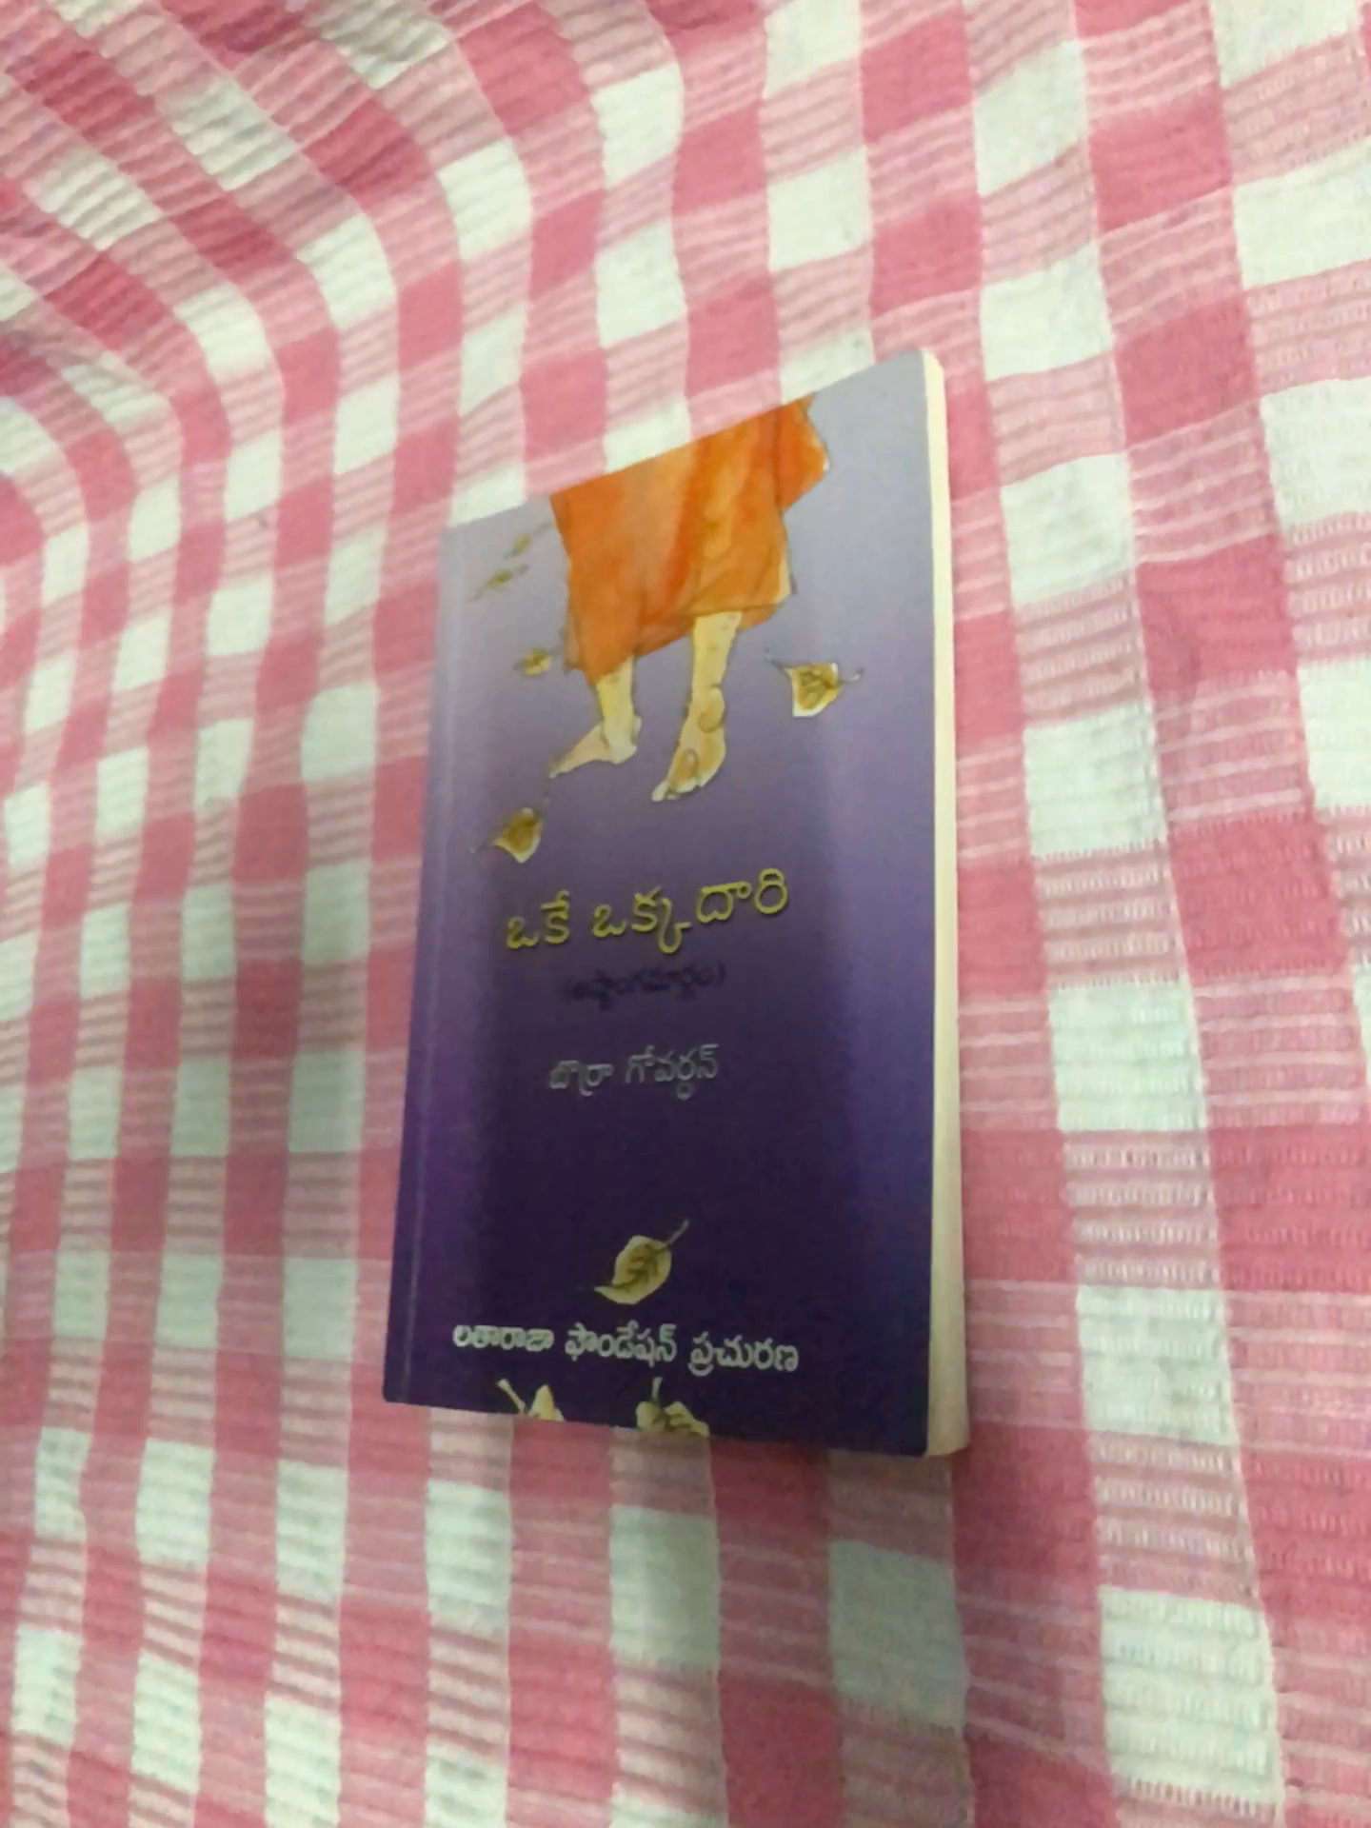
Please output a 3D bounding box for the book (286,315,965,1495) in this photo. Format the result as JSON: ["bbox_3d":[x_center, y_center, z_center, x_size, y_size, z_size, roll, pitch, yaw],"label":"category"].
[{"bbox_3d":[-0.015,-0.001,0.316,0.150,0.020,0.210,-7,74,36],"label":"book"}]
